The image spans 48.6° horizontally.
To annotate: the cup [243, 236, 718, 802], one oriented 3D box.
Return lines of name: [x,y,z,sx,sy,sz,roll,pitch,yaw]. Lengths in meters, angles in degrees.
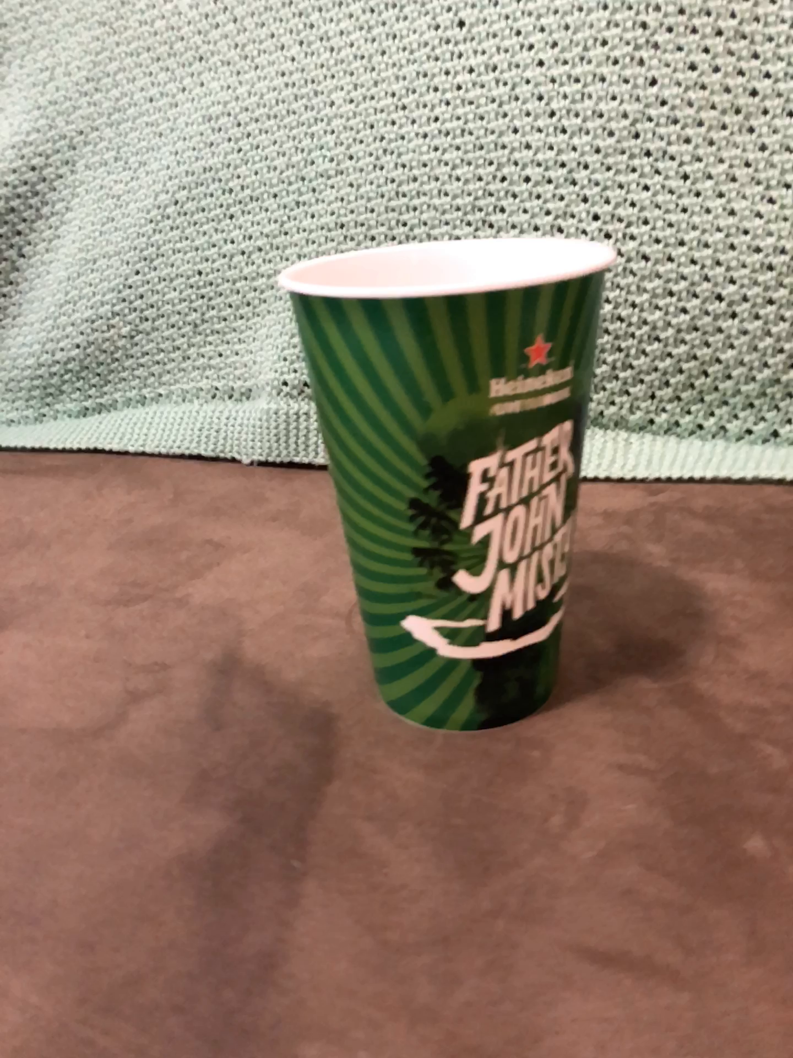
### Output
cup: [0.018,-0.014,0.265,0.100,0.129,0.101,-3,22,1]
